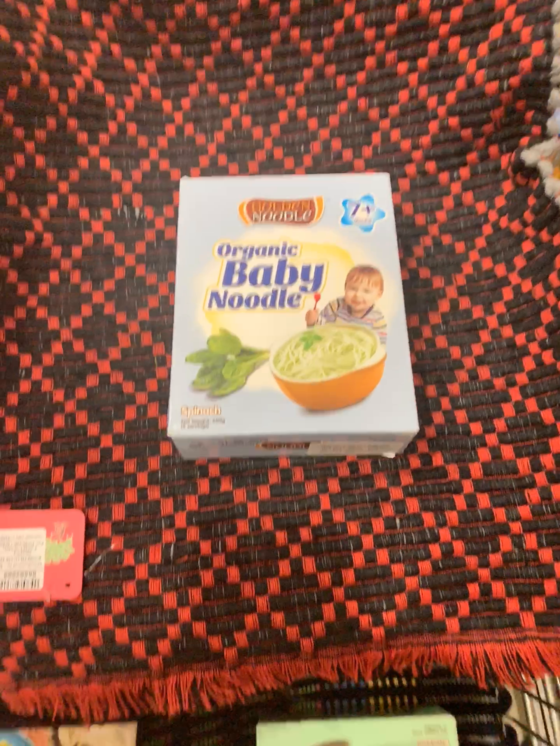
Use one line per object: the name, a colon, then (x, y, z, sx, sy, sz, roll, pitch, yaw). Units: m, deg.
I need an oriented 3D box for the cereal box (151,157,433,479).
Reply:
cereal box: (0.003, -0.033, 0.319, 0.130, 0.050, 0.170, -2, 69, -1)
